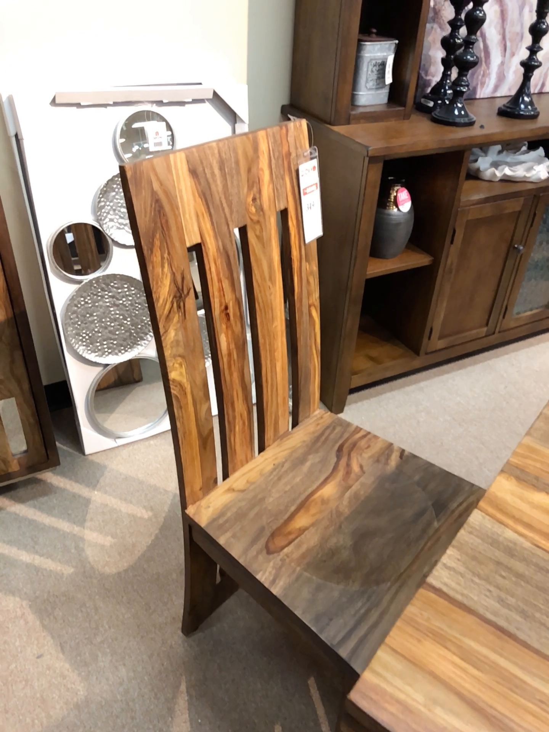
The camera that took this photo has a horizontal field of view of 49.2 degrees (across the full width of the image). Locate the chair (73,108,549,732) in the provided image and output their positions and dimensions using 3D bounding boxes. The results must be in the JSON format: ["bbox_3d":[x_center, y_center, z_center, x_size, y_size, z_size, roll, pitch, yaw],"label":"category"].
[{"bbox_3d":[0.108,0.177,1.069,0.592,1.023,0.512,29,43,31],"label":"chair"}]
